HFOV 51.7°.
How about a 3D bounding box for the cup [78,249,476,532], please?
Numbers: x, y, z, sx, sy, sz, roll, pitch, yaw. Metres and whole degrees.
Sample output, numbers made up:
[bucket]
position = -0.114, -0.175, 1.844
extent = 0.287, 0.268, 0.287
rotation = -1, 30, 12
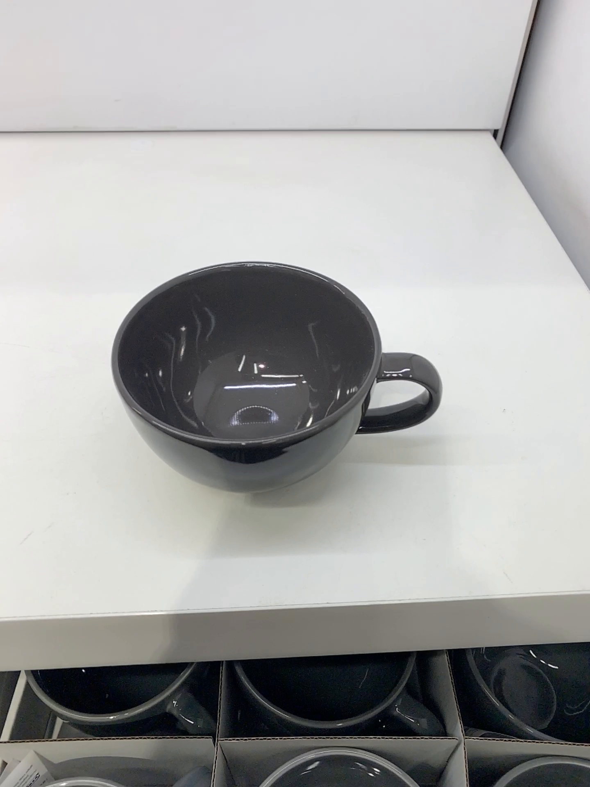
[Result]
[cup]
position = -0.004, -0.006, 0.255
extent = 0.130, 0.050, 0.110
rotation = 2, 45, 1
